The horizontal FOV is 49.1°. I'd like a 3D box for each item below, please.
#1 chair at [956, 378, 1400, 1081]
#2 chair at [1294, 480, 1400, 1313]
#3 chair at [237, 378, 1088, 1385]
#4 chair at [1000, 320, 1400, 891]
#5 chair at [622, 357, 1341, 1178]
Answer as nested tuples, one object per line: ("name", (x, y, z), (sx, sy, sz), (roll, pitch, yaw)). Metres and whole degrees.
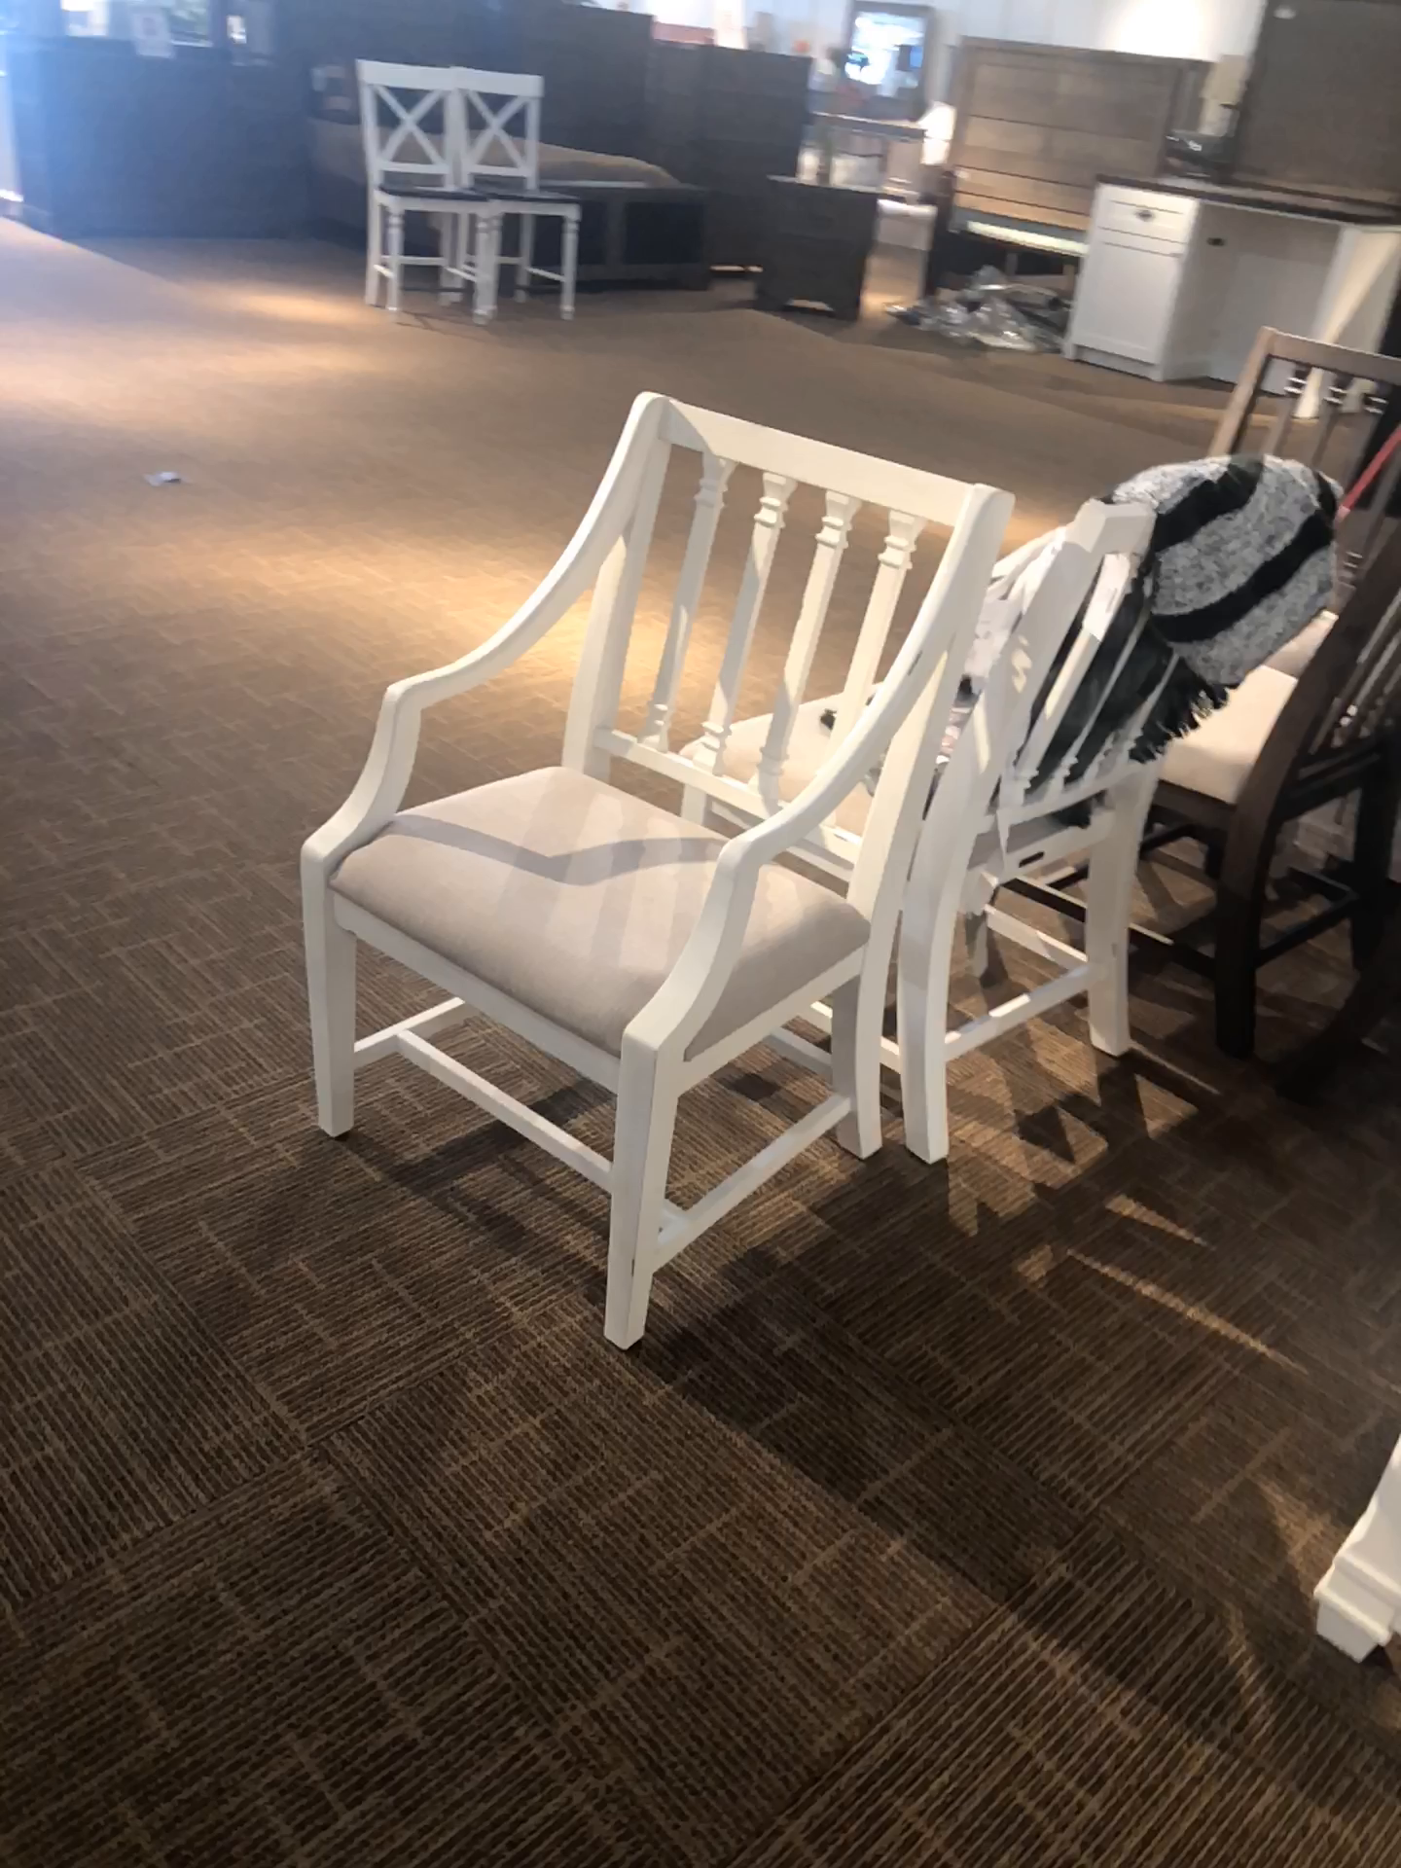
("chair", (0.938, -0.375, 2.516), (0.682, 0.885, 0.581), (-20, 39, -38))
("chair", (1.506, -0.121, 2.292), (0.873, 0.885, 0.601), (-19, 38, -38))
("chair", (-0.080, -0.122, 1.839), (0.632, 0.885, 0.651), (-22, 40, -40))
("chair", (1.104, -0.690, 3.120), (0.602, 0.955, 0.541), (-16, 37, -35))
("chair", (0.340, -0.276, 2.164), (0.562, 0.885, 0.641), (-20, 38, -38))
